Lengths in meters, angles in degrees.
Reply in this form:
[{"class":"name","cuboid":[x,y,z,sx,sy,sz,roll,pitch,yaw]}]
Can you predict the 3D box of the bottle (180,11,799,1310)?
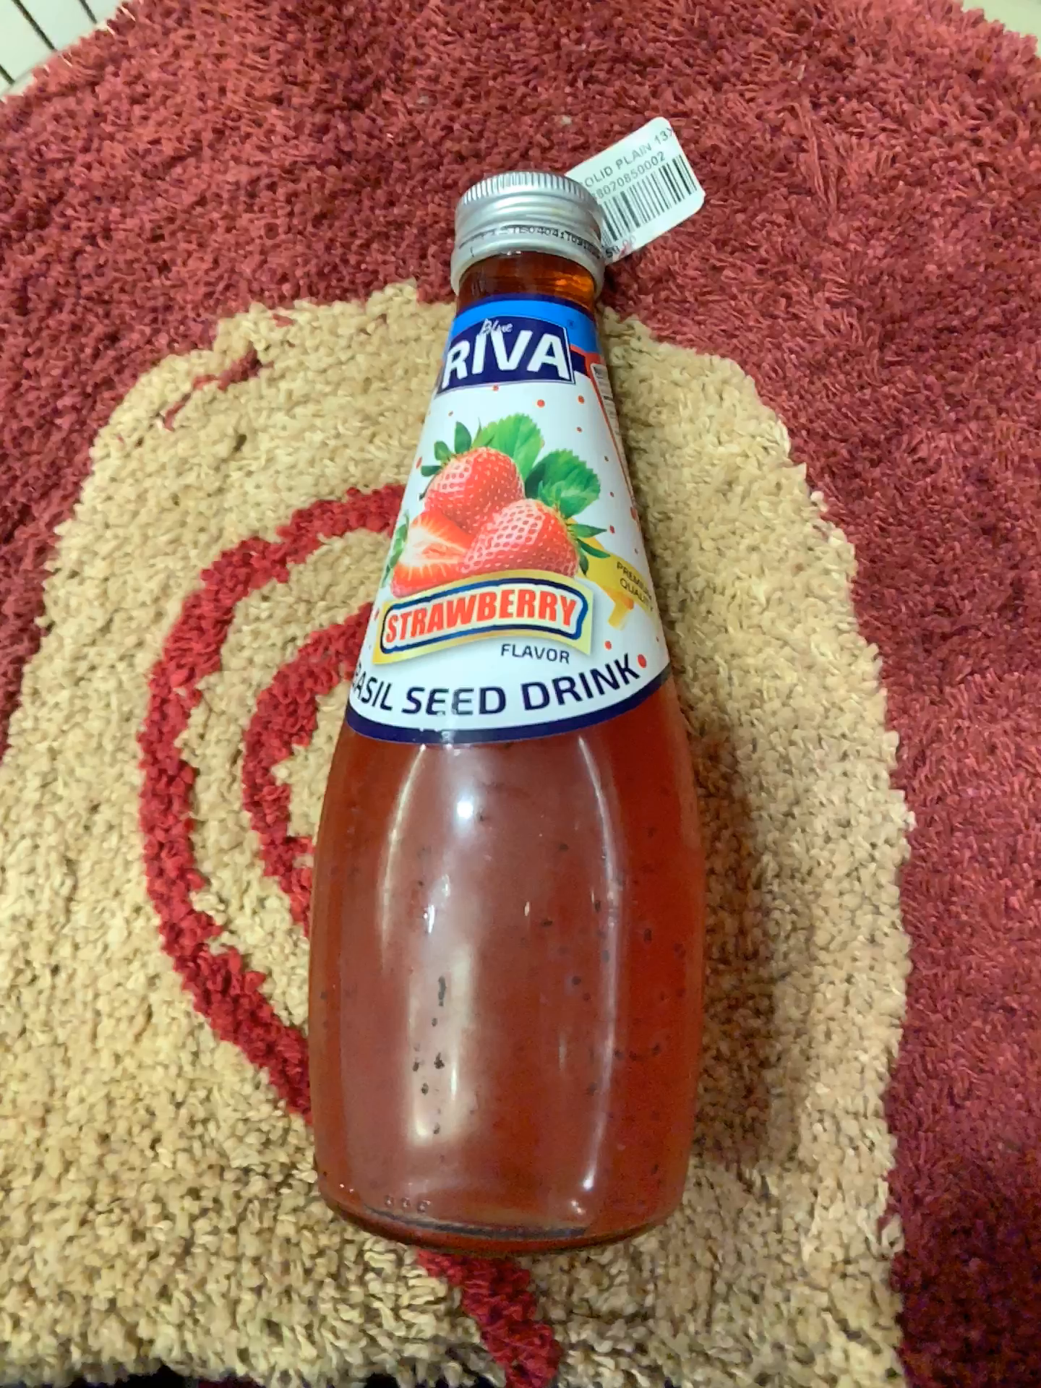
[{"class":"bottle","cuboid":[0.002,-0.009,0.161,0.070,0.050,0.160,1,80,10]}]
